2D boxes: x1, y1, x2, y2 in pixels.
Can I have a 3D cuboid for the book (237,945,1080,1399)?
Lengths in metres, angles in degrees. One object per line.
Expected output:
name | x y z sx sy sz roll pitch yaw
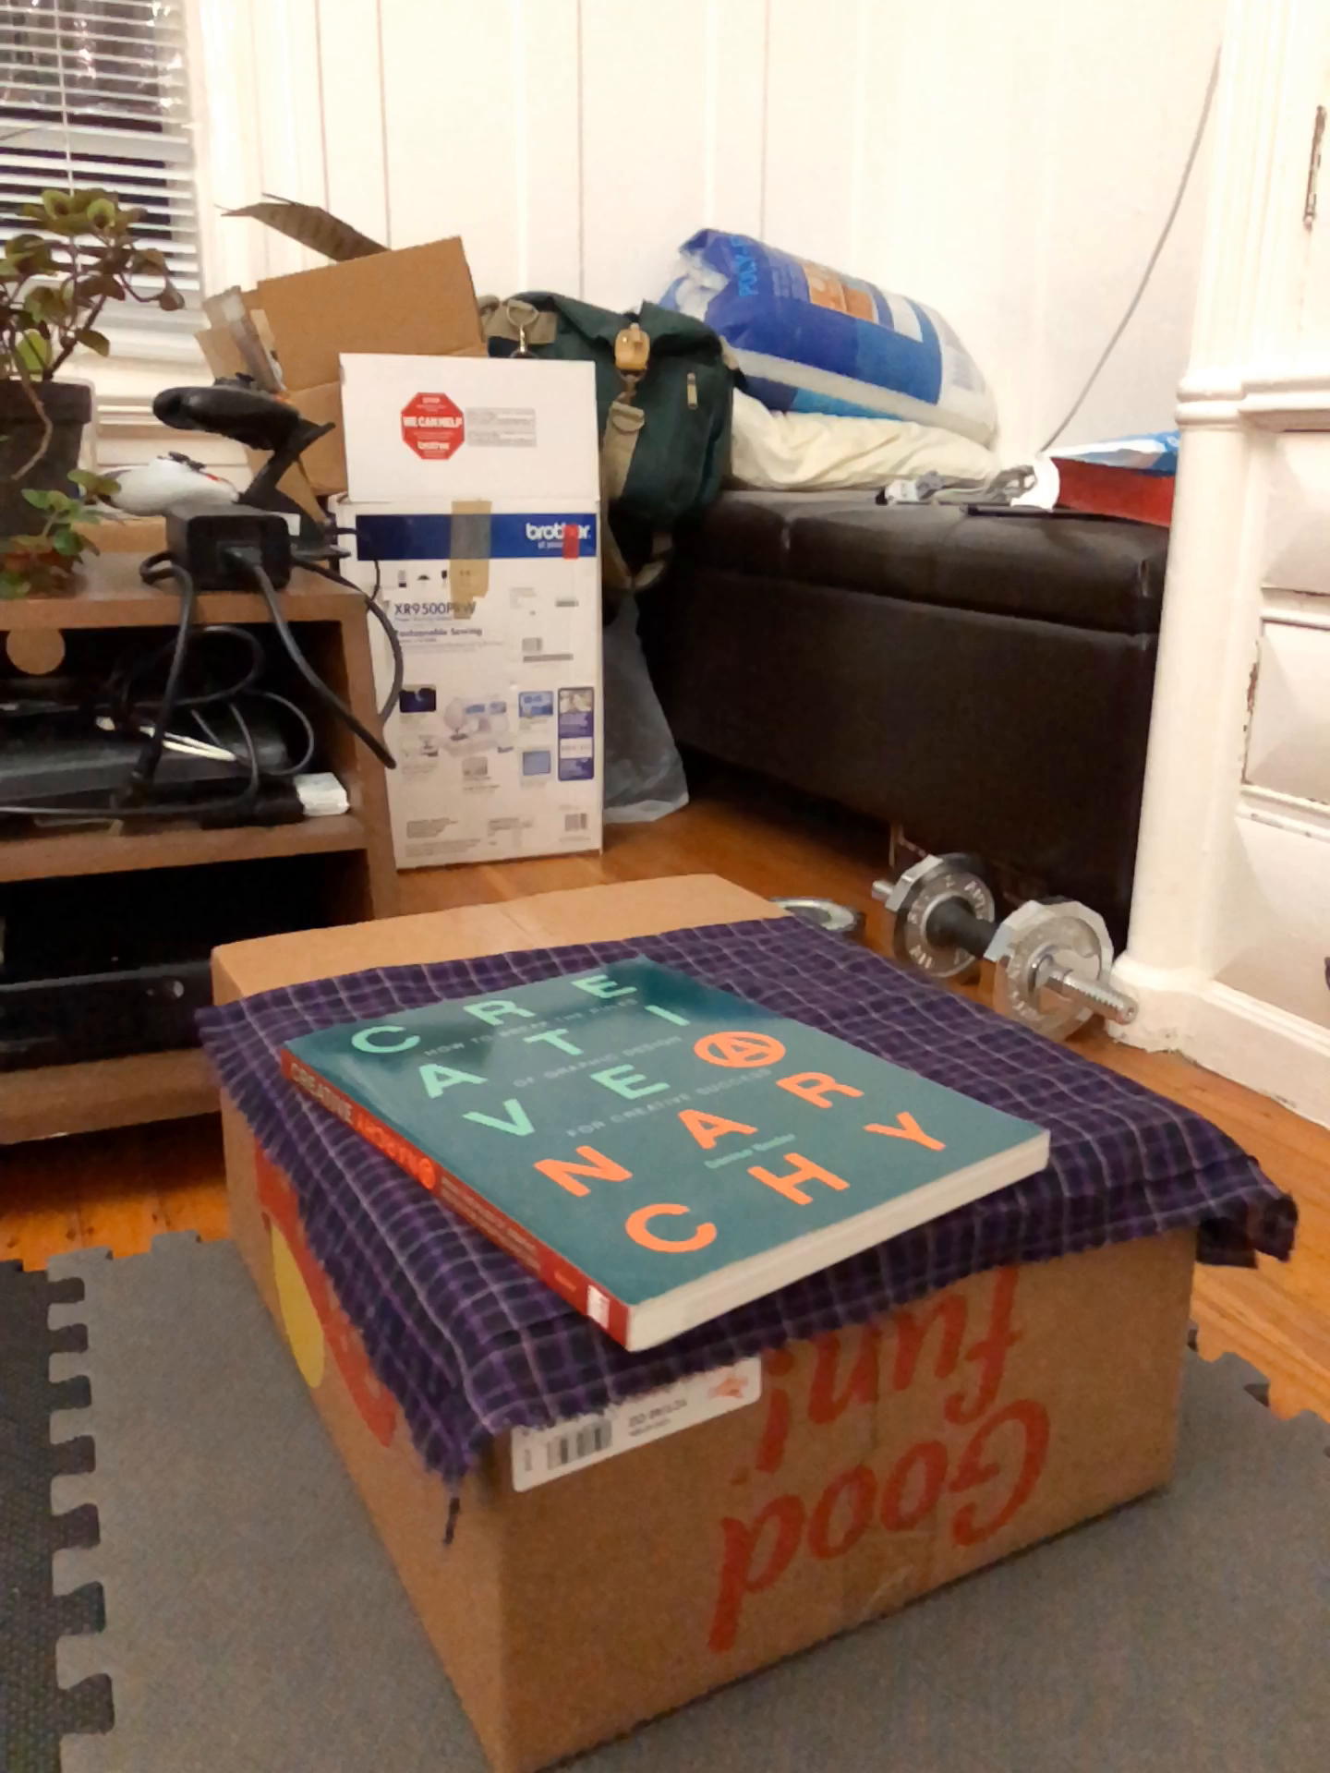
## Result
book | -0.016 0.094 0.623 0.220 0.020 0.301 -12 21 -37
